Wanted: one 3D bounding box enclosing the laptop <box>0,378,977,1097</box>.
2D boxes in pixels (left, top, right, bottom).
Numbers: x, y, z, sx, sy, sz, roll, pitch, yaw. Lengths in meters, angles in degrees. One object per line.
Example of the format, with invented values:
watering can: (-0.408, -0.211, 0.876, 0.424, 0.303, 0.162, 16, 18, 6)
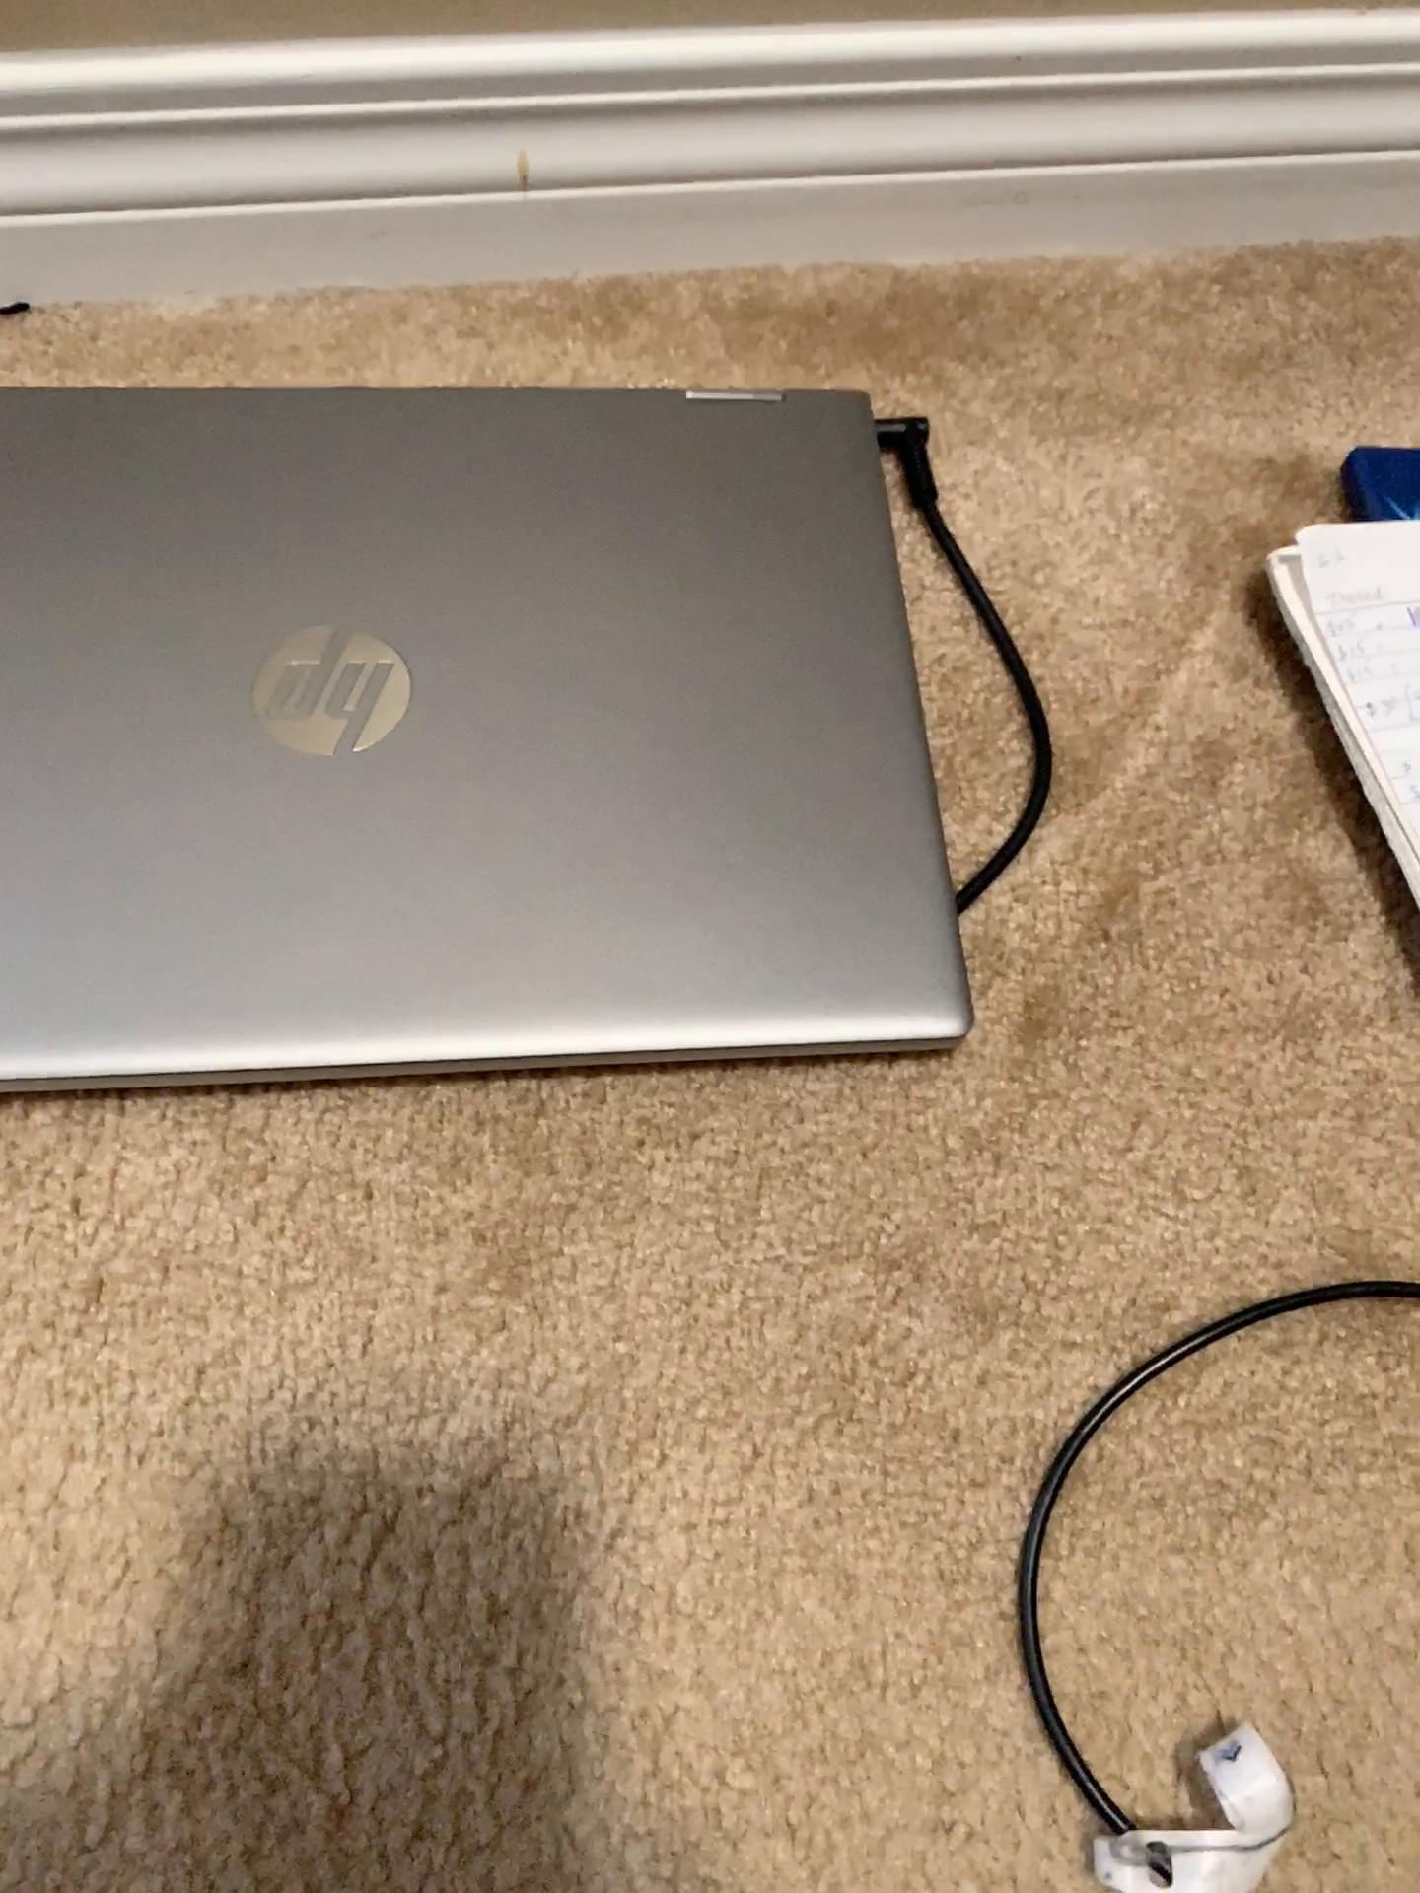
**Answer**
laptop: (-0.099, -0.072, 0.396, 0.319, 0.001, 0.222, -2, 62, -8)
